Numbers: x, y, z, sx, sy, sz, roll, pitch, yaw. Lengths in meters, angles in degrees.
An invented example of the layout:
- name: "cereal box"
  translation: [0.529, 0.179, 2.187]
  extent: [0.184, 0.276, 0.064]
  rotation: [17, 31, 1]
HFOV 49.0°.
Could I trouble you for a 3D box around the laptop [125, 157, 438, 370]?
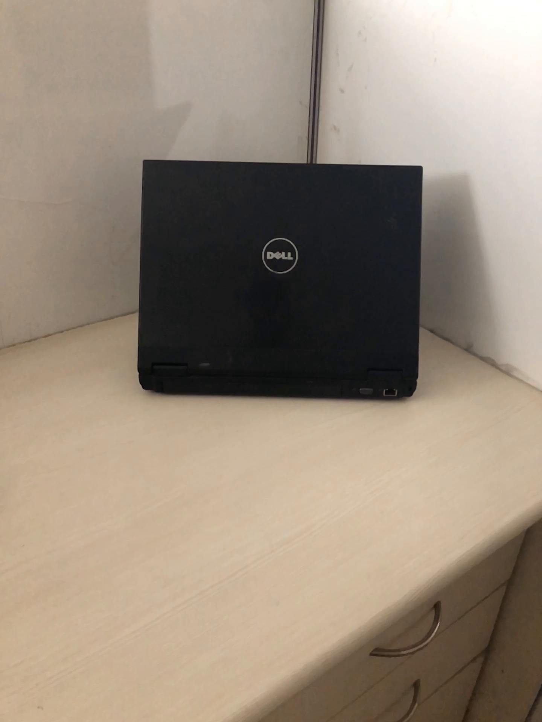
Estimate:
- name: "laptop"
  translation: [0.010, -0.129, 0.728]
  extent: [0.303, 0.190, 0.231]
  rotation: [2, 28, 1]
